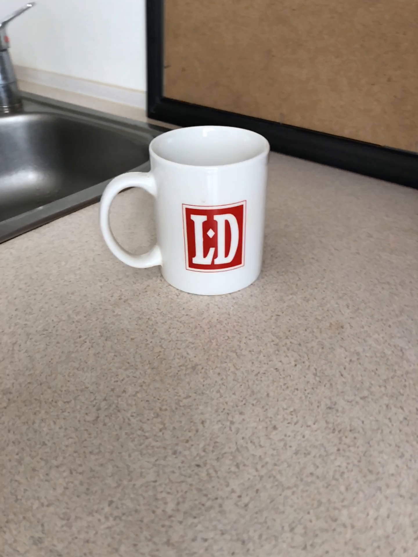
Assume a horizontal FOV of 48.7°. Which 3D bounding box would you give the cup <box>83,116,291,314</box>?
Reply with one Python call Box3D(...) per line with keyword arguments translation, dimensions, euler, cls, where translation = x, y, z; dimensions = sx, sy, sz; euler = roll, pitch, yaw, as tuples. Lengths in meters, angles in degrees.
Box3D(translation=(-0.018, -0.050, 0.331), dimensions=(0.120, 0.099, 0.085), euler=(-10, 35, -13), cls="cup")
